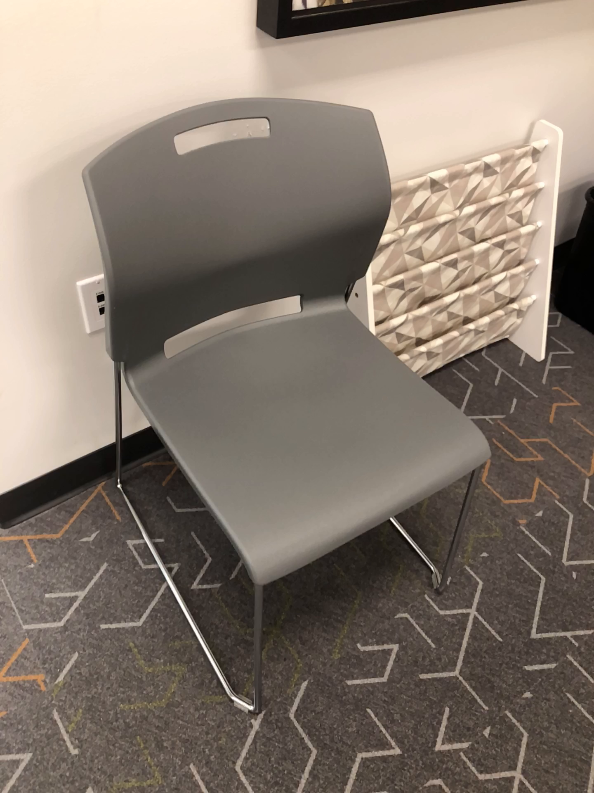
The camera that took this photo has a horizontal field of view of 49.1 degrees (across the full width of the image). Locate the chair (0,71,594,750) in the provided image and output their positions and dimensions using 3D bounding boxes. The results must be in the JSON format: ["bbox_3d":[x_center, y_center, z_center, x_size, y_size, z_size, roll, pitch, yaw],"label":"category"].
[{"bbox_3d":[-0.017,-0.002,1.096,0.581,0.735,0.673,-23,53,-26],"label":"chair"}]
